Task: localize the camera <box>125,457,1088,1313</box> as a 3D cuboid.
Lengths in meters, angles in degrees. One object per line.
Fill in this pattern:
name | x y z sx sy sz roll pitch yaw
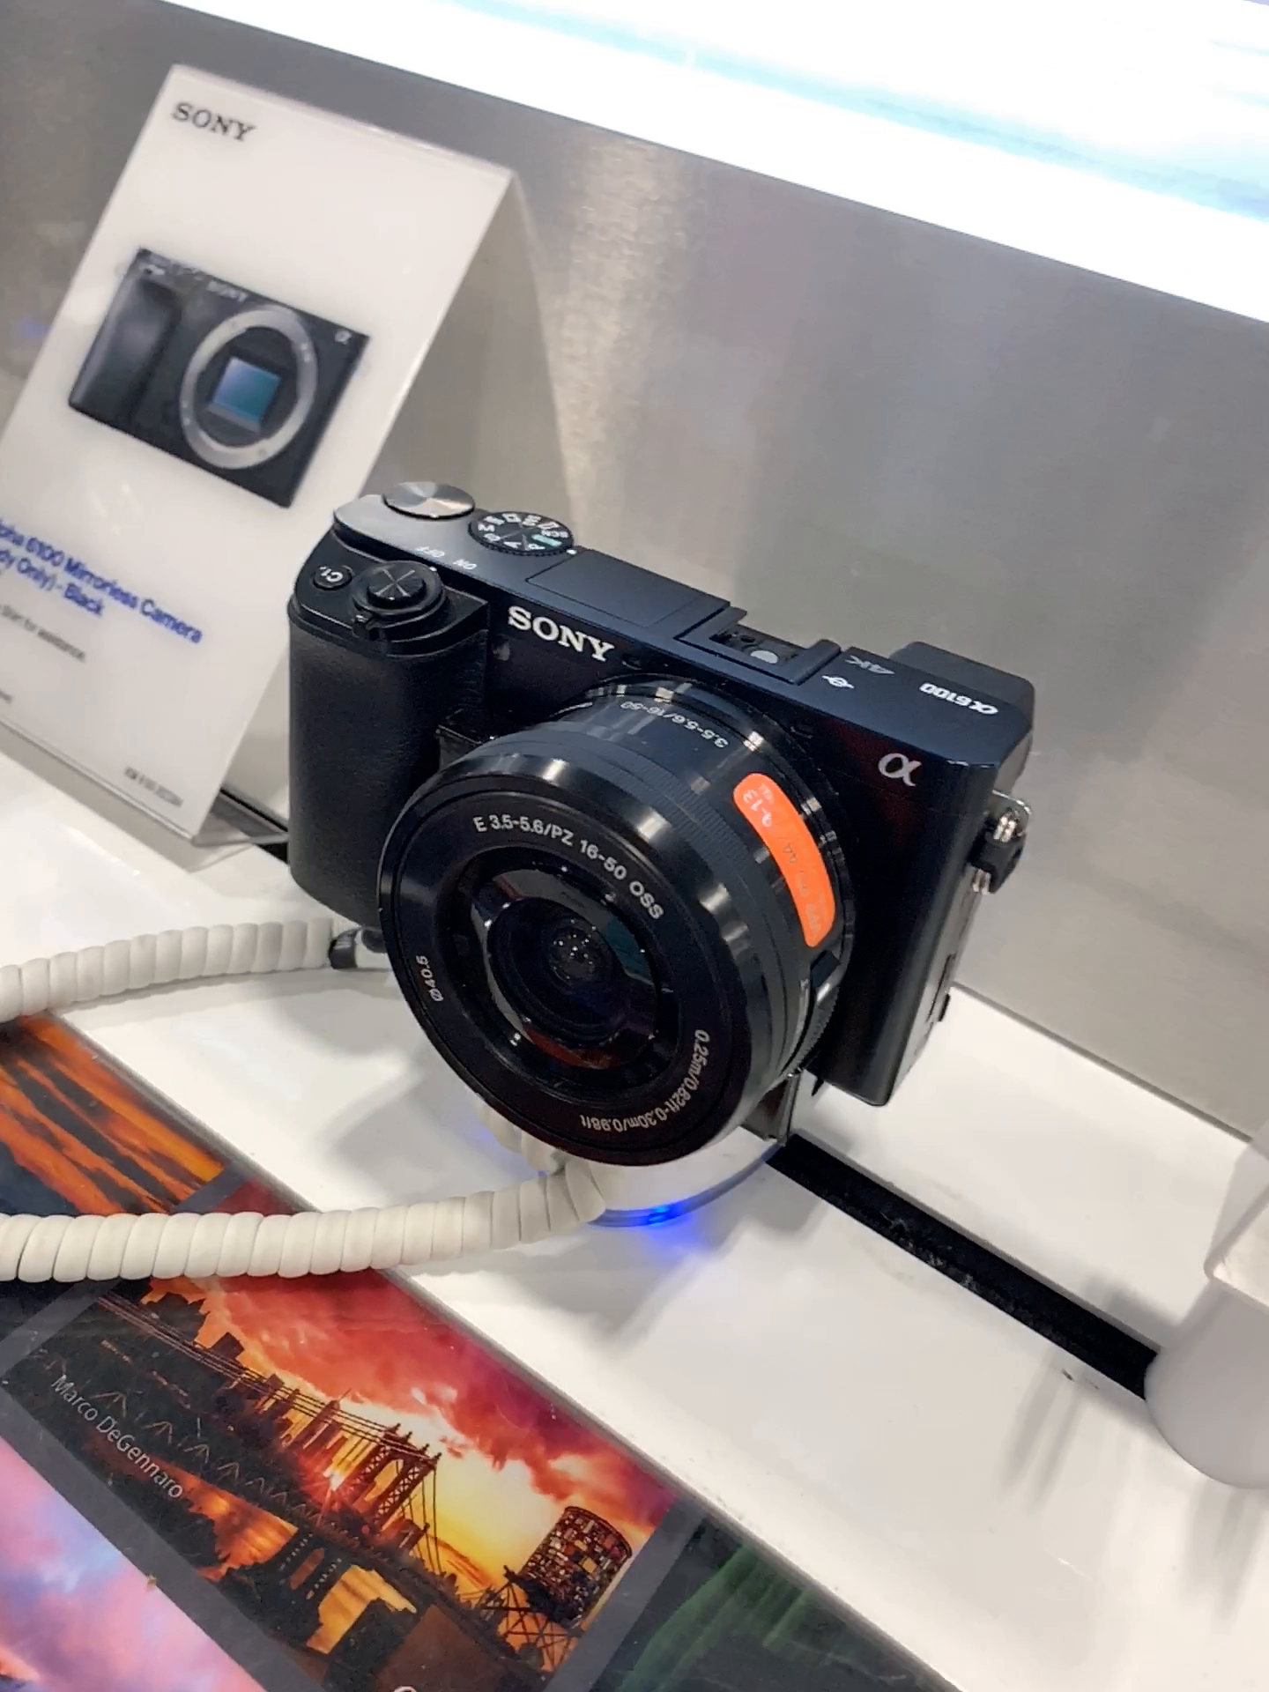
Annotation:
camera | -0.006 -0.001 0.211 0.121 0.070 0.070 23 39 16
